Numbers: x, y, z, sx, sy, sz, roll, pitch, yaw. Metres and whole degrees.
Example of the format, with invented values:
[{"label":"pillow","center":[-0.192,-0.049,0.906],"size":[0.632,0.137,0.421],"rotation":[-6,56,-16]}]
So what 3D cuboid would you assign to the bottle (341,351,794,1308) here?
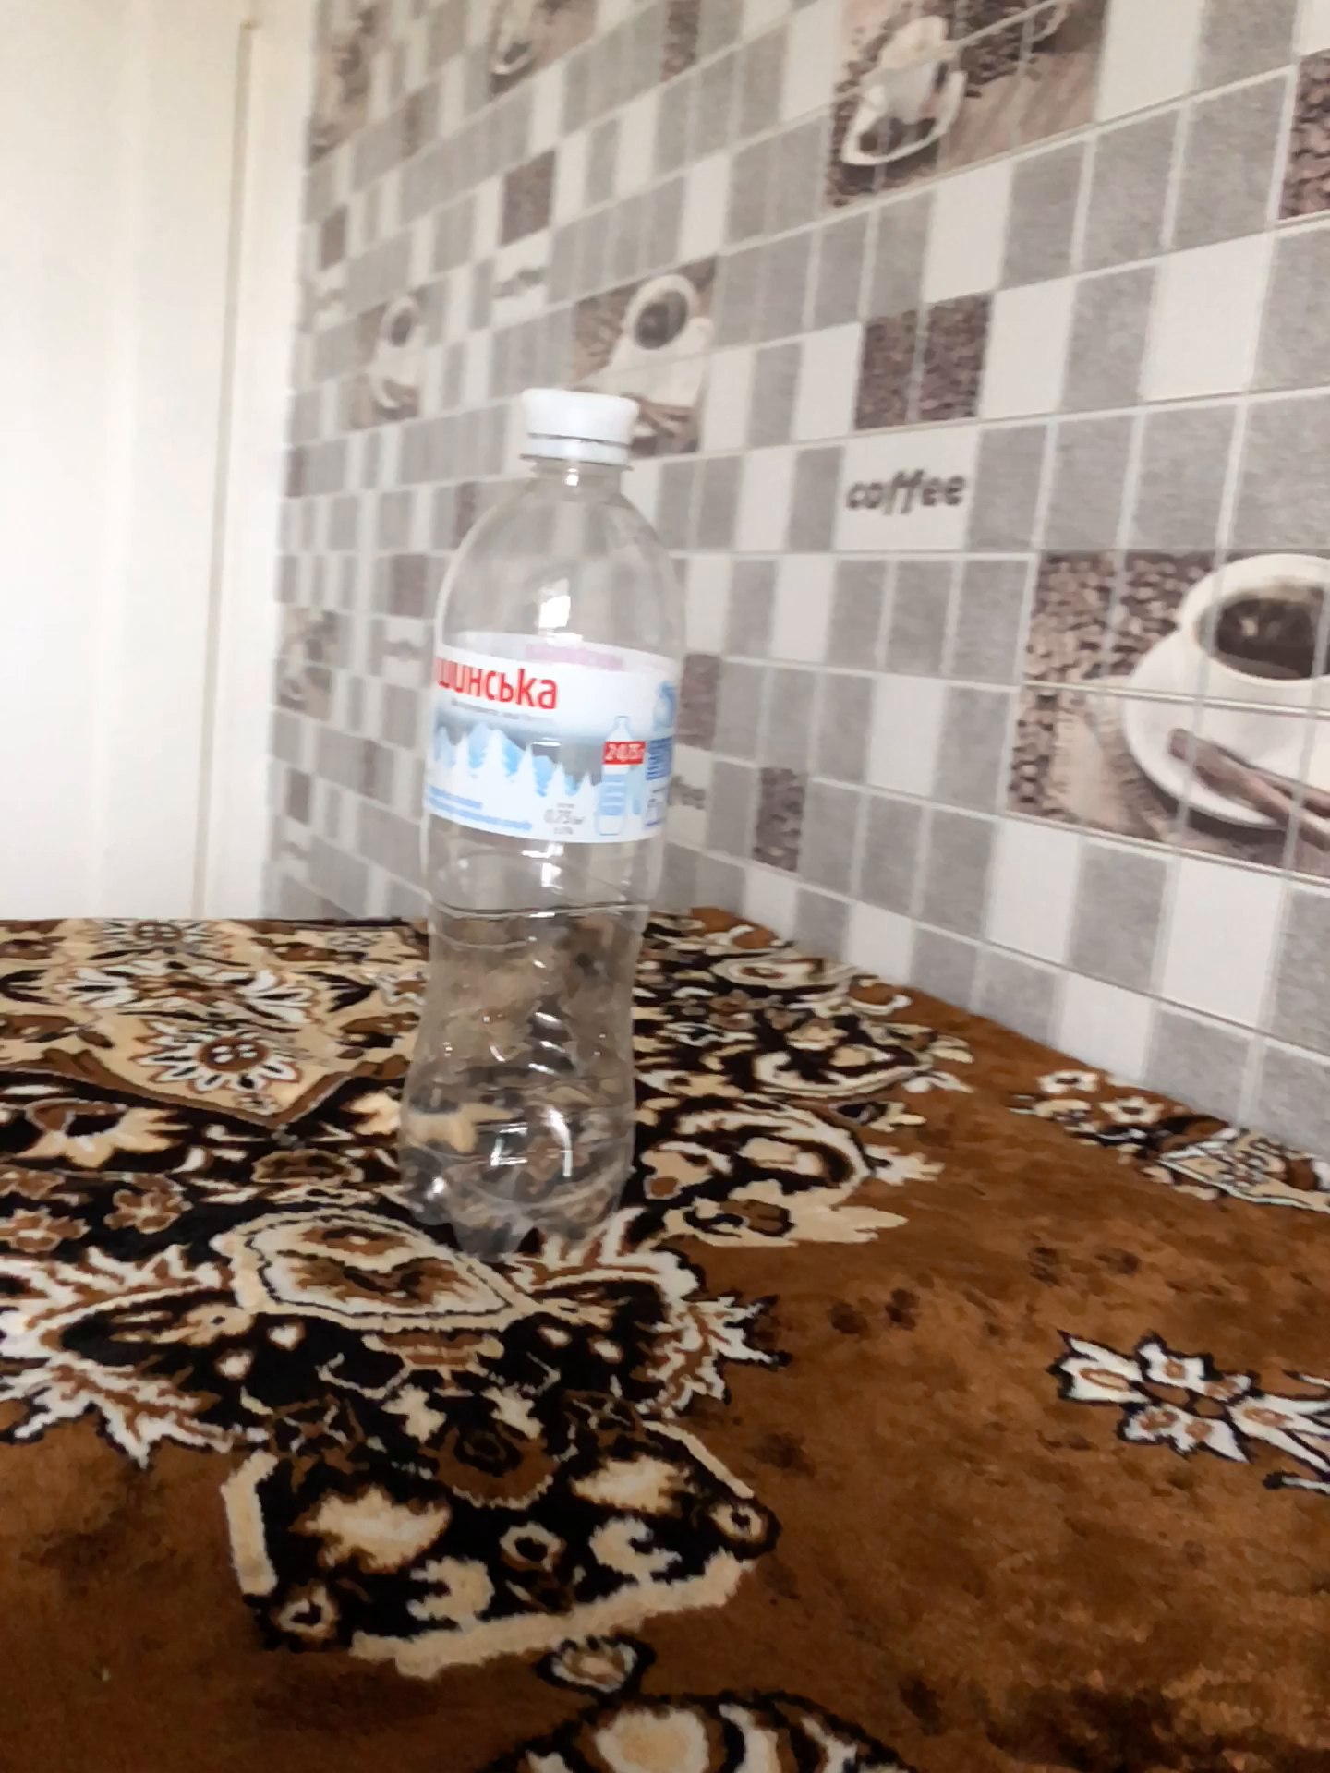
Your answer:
[{"label":"bottle","center":[-0.035,-0.018,0.432],"size":[0.080,0.249,0.090],"rotation":[-2,14,-32]}]
